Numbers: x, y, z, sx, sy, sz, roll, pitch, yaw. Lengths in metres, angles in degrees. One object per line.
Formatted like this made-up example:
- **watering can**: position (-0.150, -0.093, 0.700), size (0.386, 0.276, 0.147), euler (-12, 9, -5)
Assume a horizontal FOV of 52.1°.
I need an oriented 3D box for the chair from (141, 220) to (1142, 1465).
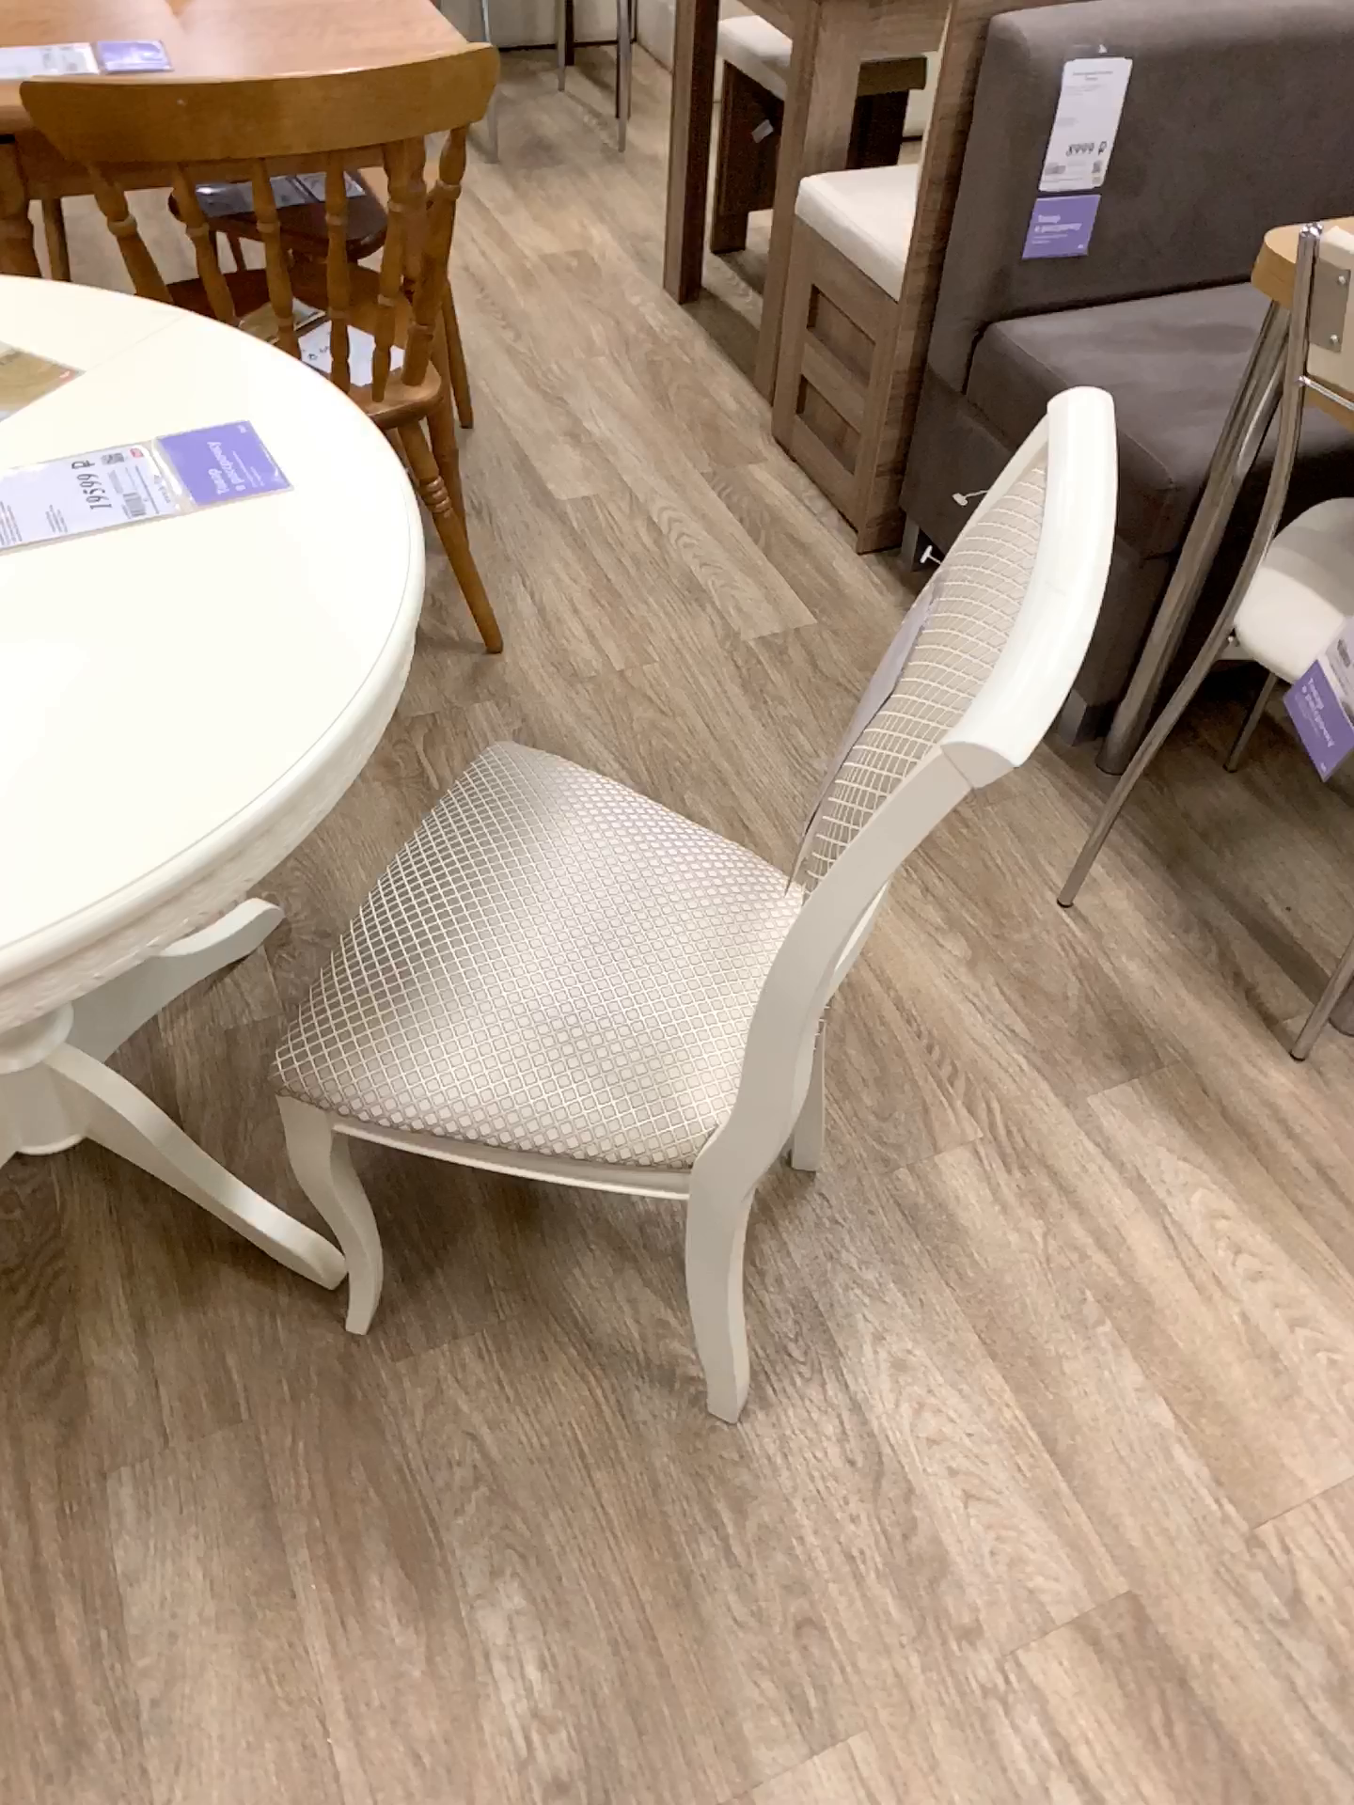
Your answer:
- **chair**: position (-0.005, 0.015, 1.180), size (0.510, 0.905, 0.462), euler (13, 48, 7)
